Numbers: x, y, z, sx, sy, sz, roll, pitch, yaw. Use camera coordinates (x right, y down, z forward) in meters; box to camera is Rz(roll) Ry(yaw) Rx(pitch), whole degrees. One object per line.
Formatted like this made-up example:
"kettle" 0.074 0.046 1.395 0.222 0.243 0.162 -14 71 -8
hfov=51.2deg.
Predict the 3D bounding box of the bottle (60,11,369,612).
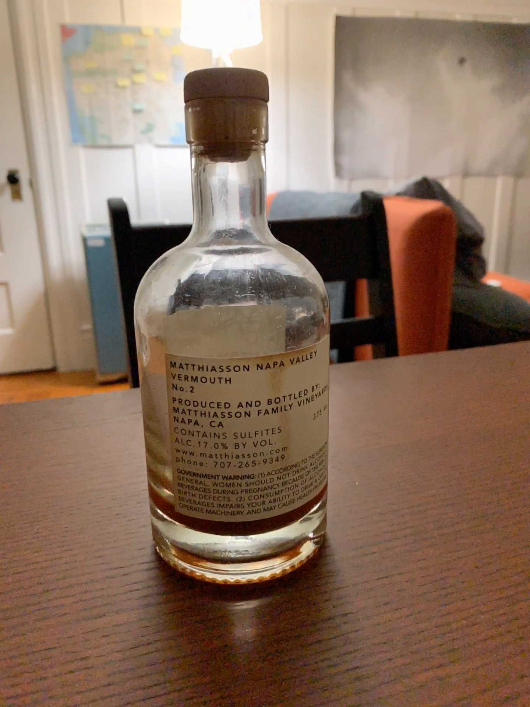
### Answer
"bottle" -0.022 -0.014 0.221 0.090 0.189 0.080 -6 18 -18
